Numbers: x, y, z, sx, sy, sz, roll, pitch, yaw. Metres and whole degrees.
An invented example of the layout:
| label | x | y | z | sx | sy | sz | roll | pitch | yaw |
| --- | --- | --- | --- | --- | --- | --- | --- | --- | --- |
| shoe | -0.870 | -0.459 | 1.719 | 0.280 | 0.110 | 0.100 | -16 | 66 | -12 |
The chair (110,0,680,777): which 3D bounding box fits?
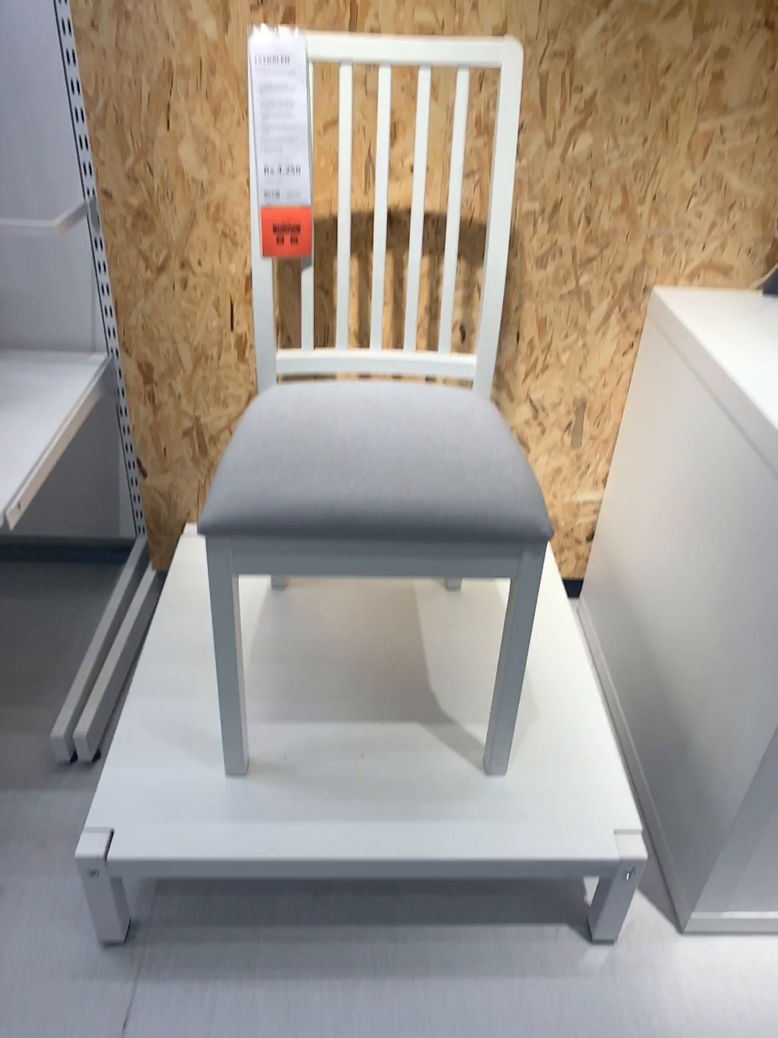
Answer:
| label | x | y | z | sx | sy | sz | roll | pitch | yaw |
| --- | --- | --- | --- | --- | --- | --- | --- | --- | --- |
| chair | -0.019 | -0.160 | 1.054 | 0.430 | 0.885 | 0.513 | 1 | 34 | -3 |
